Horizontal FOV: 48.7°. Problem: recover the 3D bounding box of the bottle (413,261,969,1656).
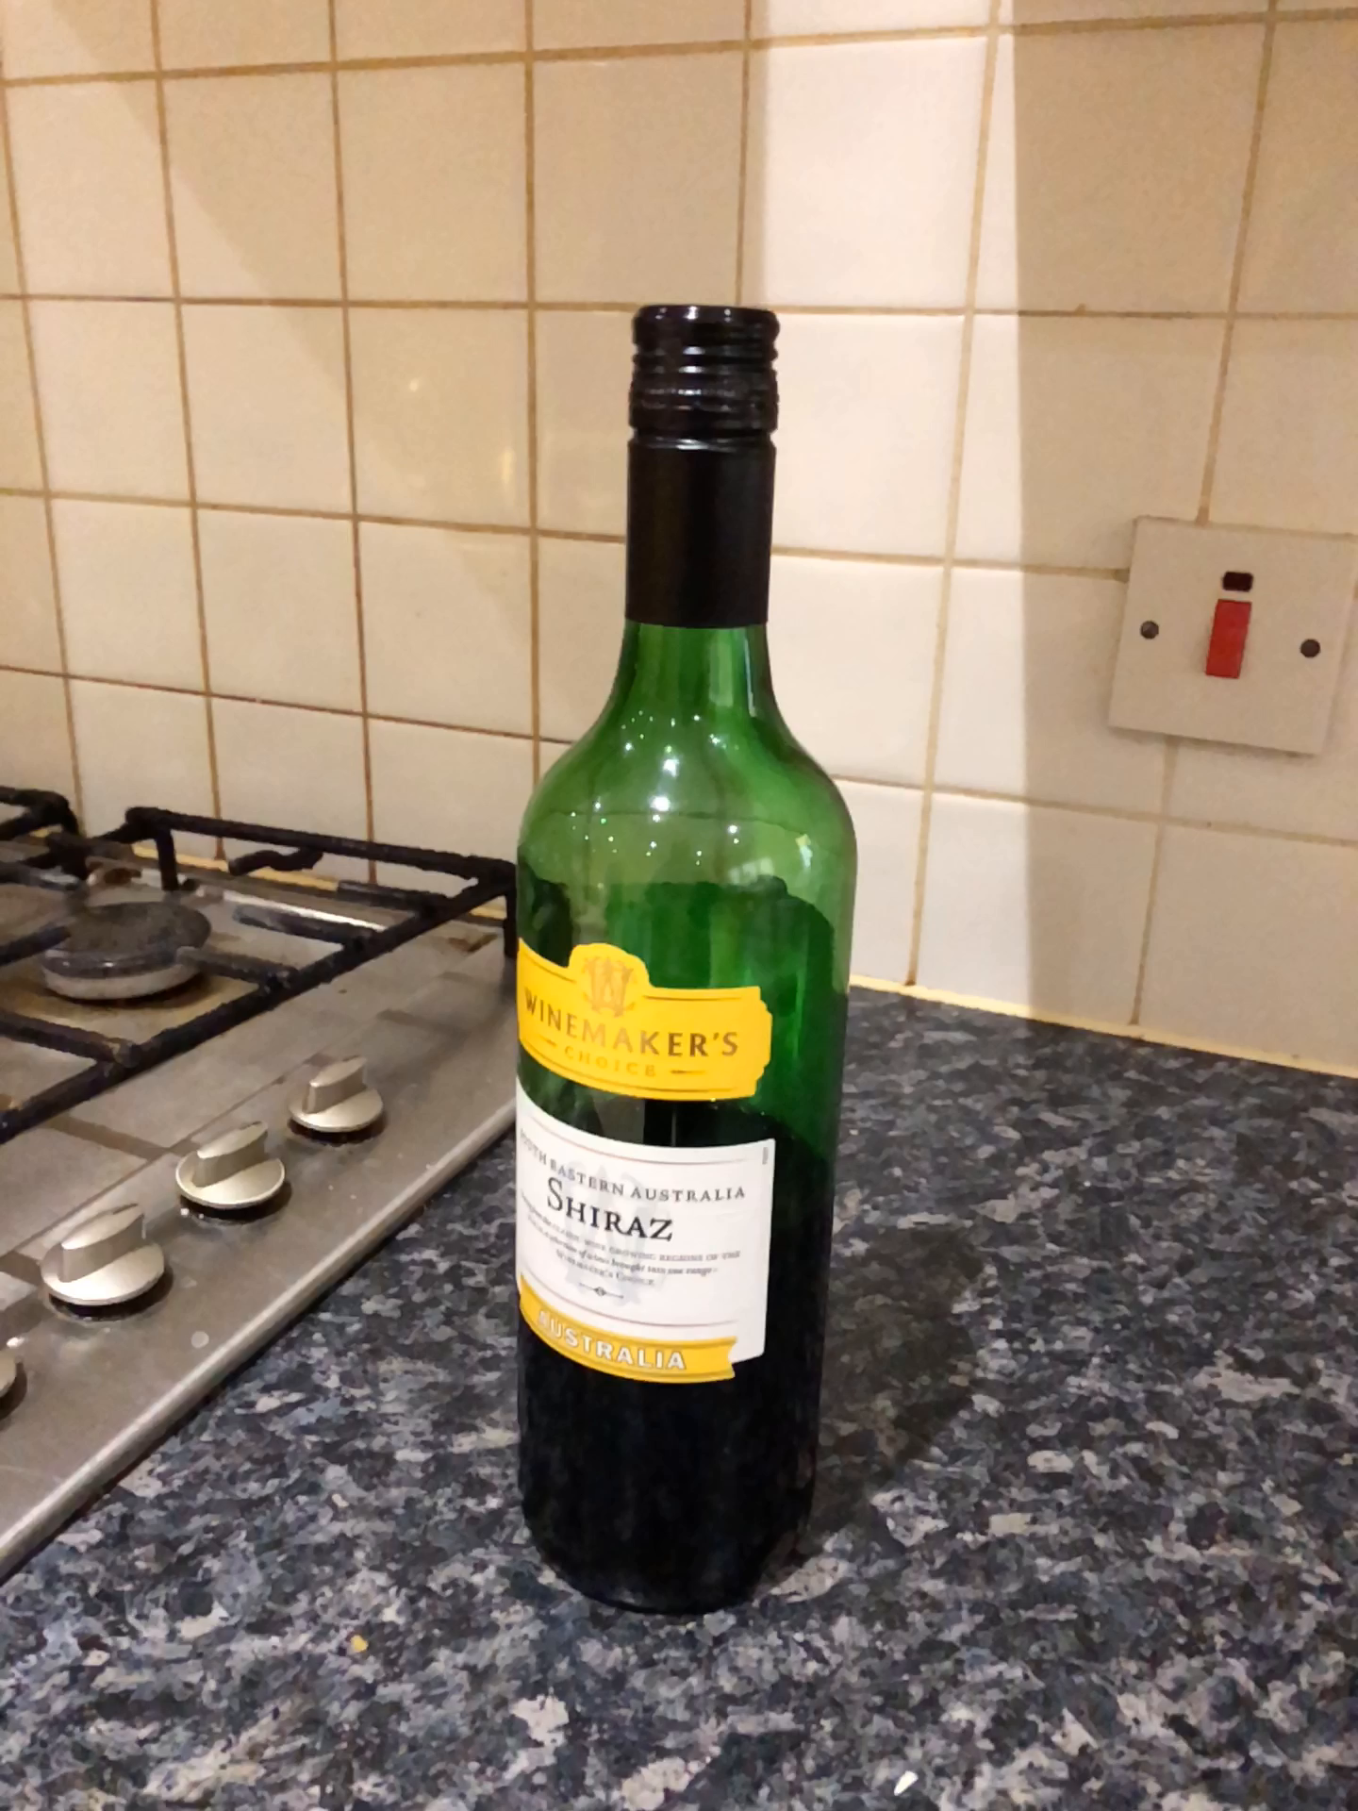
[{"bbox_3d":[0.002,0.012,0.330,0.080,0.278,0.080,1,19,0],"label":"bottle"}]
